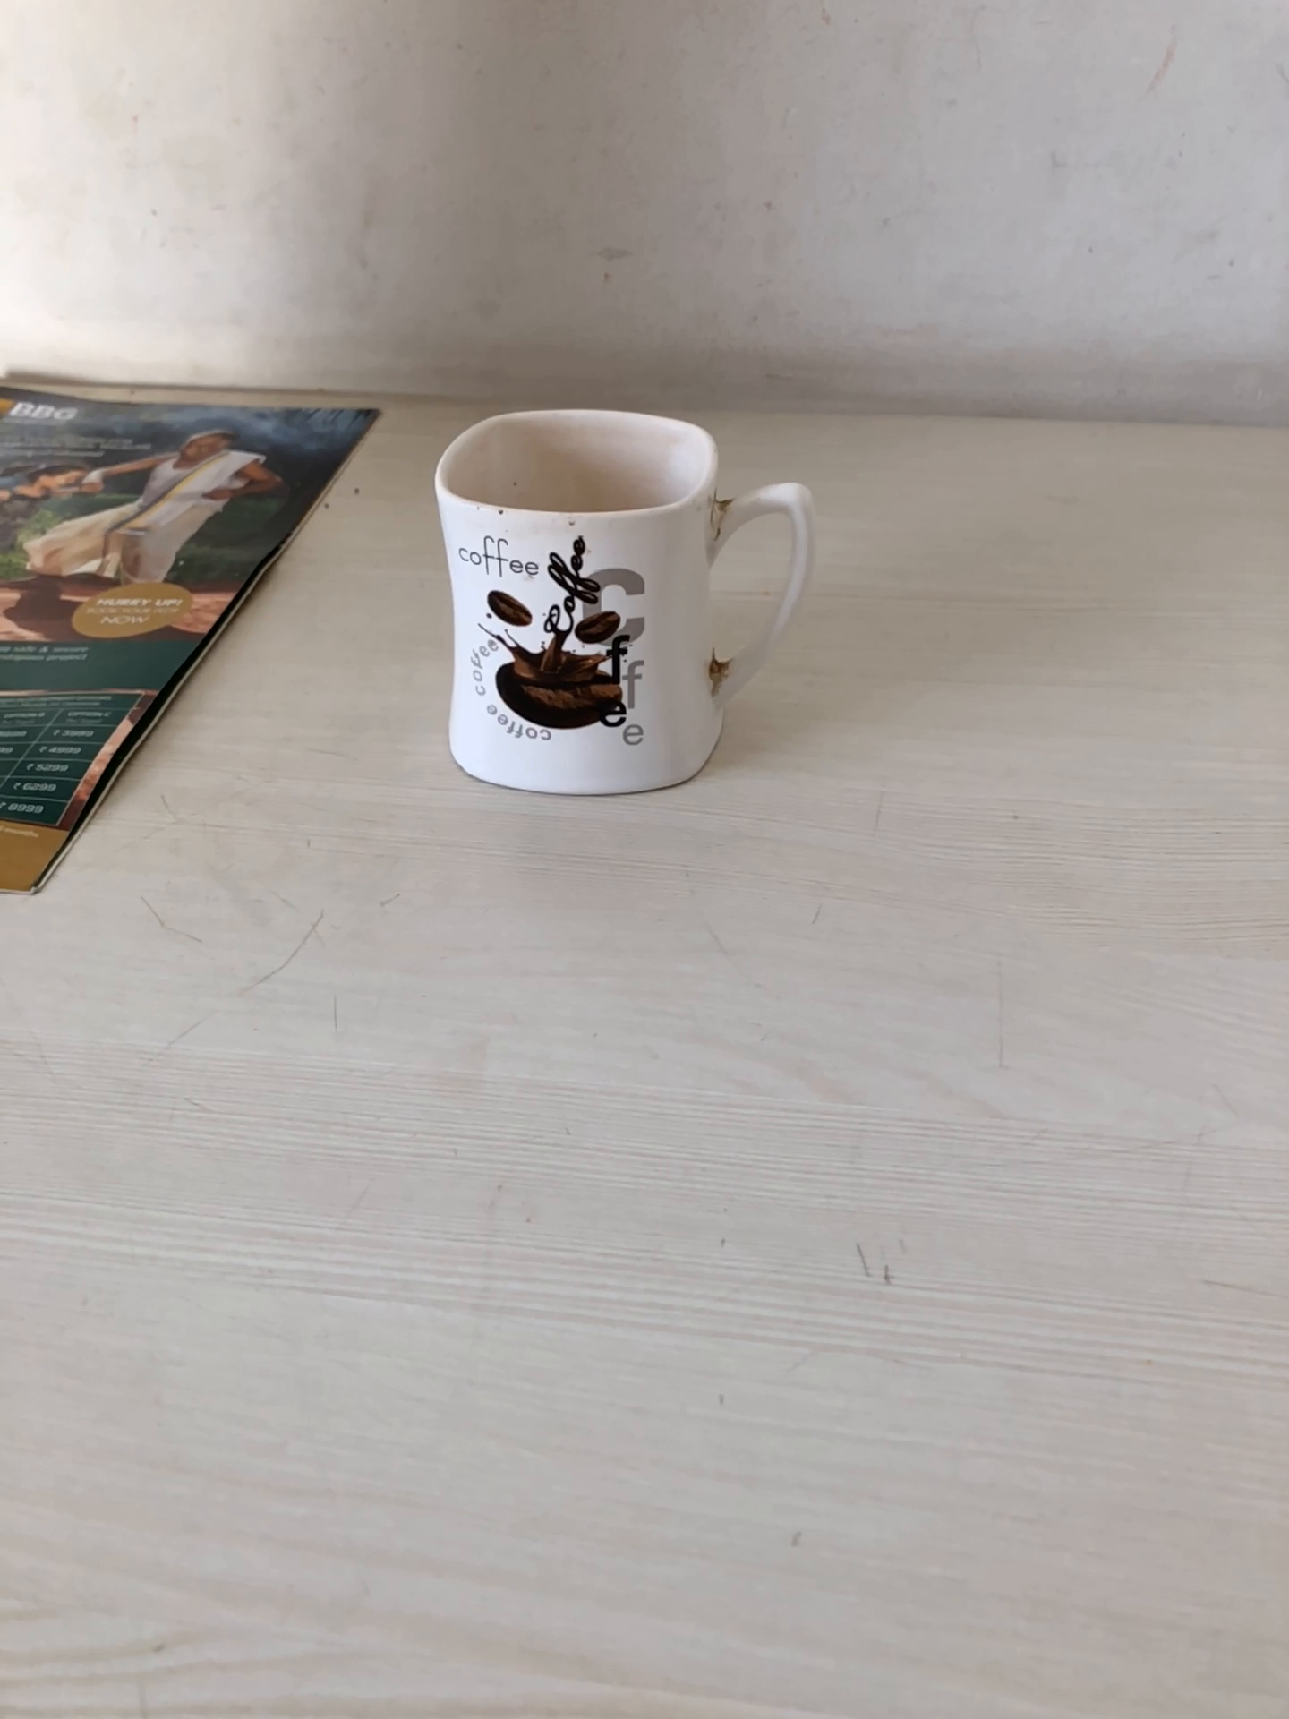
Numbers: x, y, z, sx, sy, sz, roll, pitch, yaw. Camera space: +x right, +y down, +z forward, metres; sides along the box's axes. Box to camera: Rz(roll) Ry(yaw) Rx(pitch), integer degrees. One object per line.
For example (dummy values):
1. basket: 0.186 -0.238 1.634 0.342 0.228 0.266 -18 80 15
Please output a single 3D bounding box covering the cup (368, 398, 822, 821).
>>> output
1. cup: -0.007 -0.059 0.330 0.090 0.070 0.071 2 36 5
